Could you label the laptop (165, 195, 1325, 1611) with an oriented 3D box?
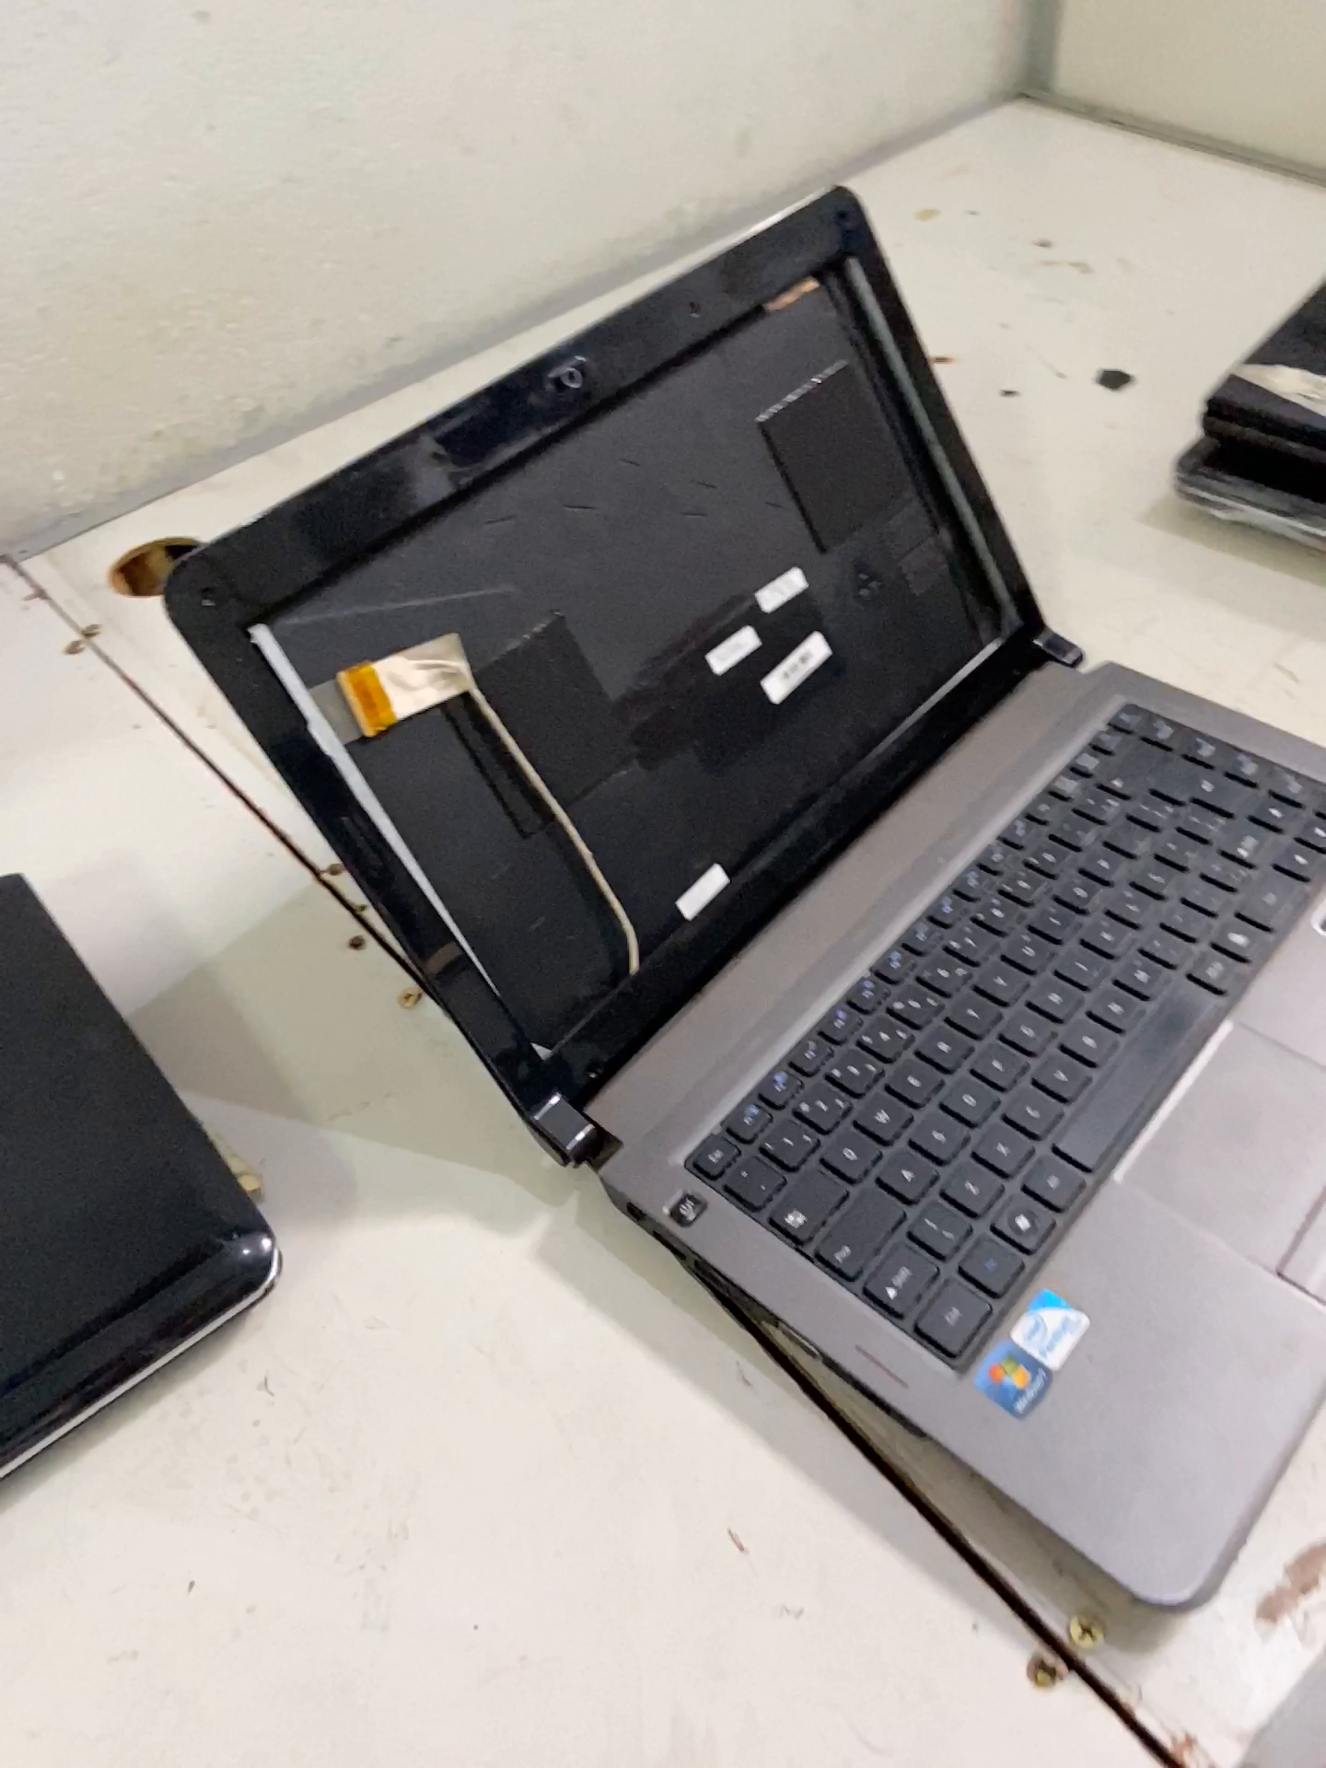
[{"bbox_3d":[0.104,-0.051,0.468,0.365,0.174,0.344,31,57,30],"label":"laptop"}]
